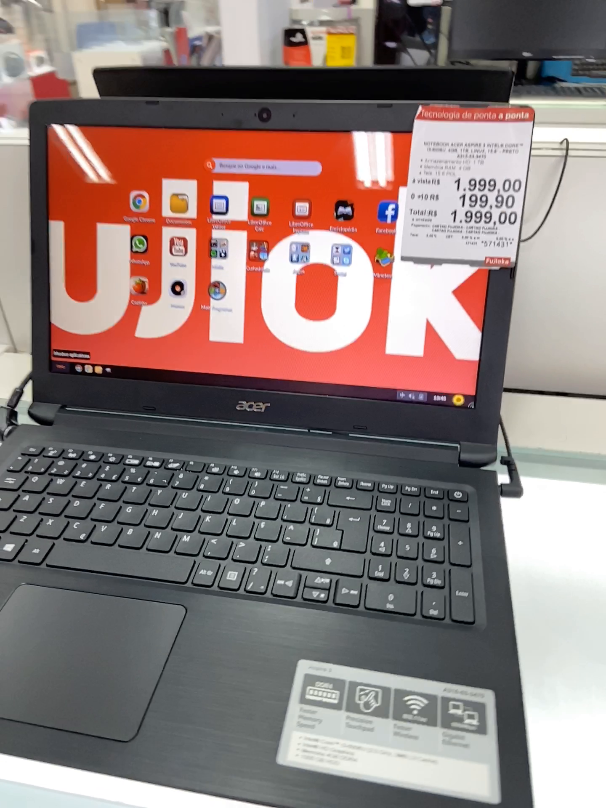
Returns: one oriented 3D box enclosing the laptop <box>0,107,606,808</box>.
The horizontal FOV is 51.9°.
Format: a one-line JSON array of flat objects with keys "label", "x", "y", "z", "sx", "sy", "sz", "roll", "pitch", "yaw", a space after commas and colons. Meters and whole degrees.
[{"label": "laptop", "x": -0.063, "y": -0.025, "z": 0.381, "sx": 0.392, "sy": 0.230, "sz": 0.372, "roll": 5, "pitch": 34, "yaw": 9}]
